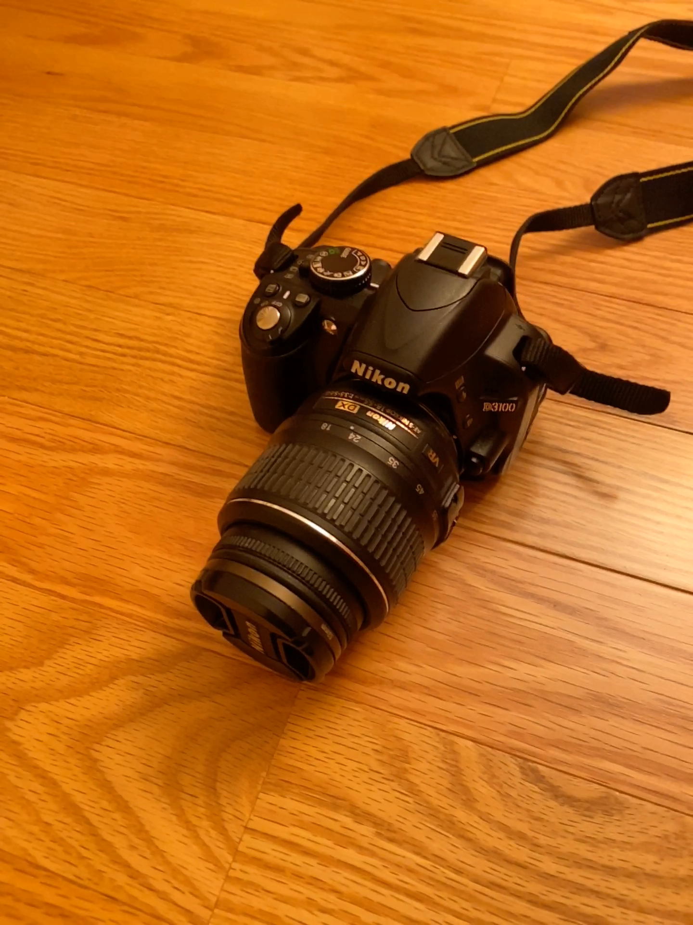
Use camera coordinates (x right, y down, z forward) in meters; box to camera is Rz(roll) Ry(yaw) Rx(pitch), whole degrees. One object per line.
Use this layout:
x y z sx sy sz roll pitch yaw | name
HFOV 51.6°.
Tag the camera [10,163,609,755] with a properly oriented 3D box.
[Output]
-0.001 -0.010 0.268 0.130 0.099 0.161 22 57 16 | camera
